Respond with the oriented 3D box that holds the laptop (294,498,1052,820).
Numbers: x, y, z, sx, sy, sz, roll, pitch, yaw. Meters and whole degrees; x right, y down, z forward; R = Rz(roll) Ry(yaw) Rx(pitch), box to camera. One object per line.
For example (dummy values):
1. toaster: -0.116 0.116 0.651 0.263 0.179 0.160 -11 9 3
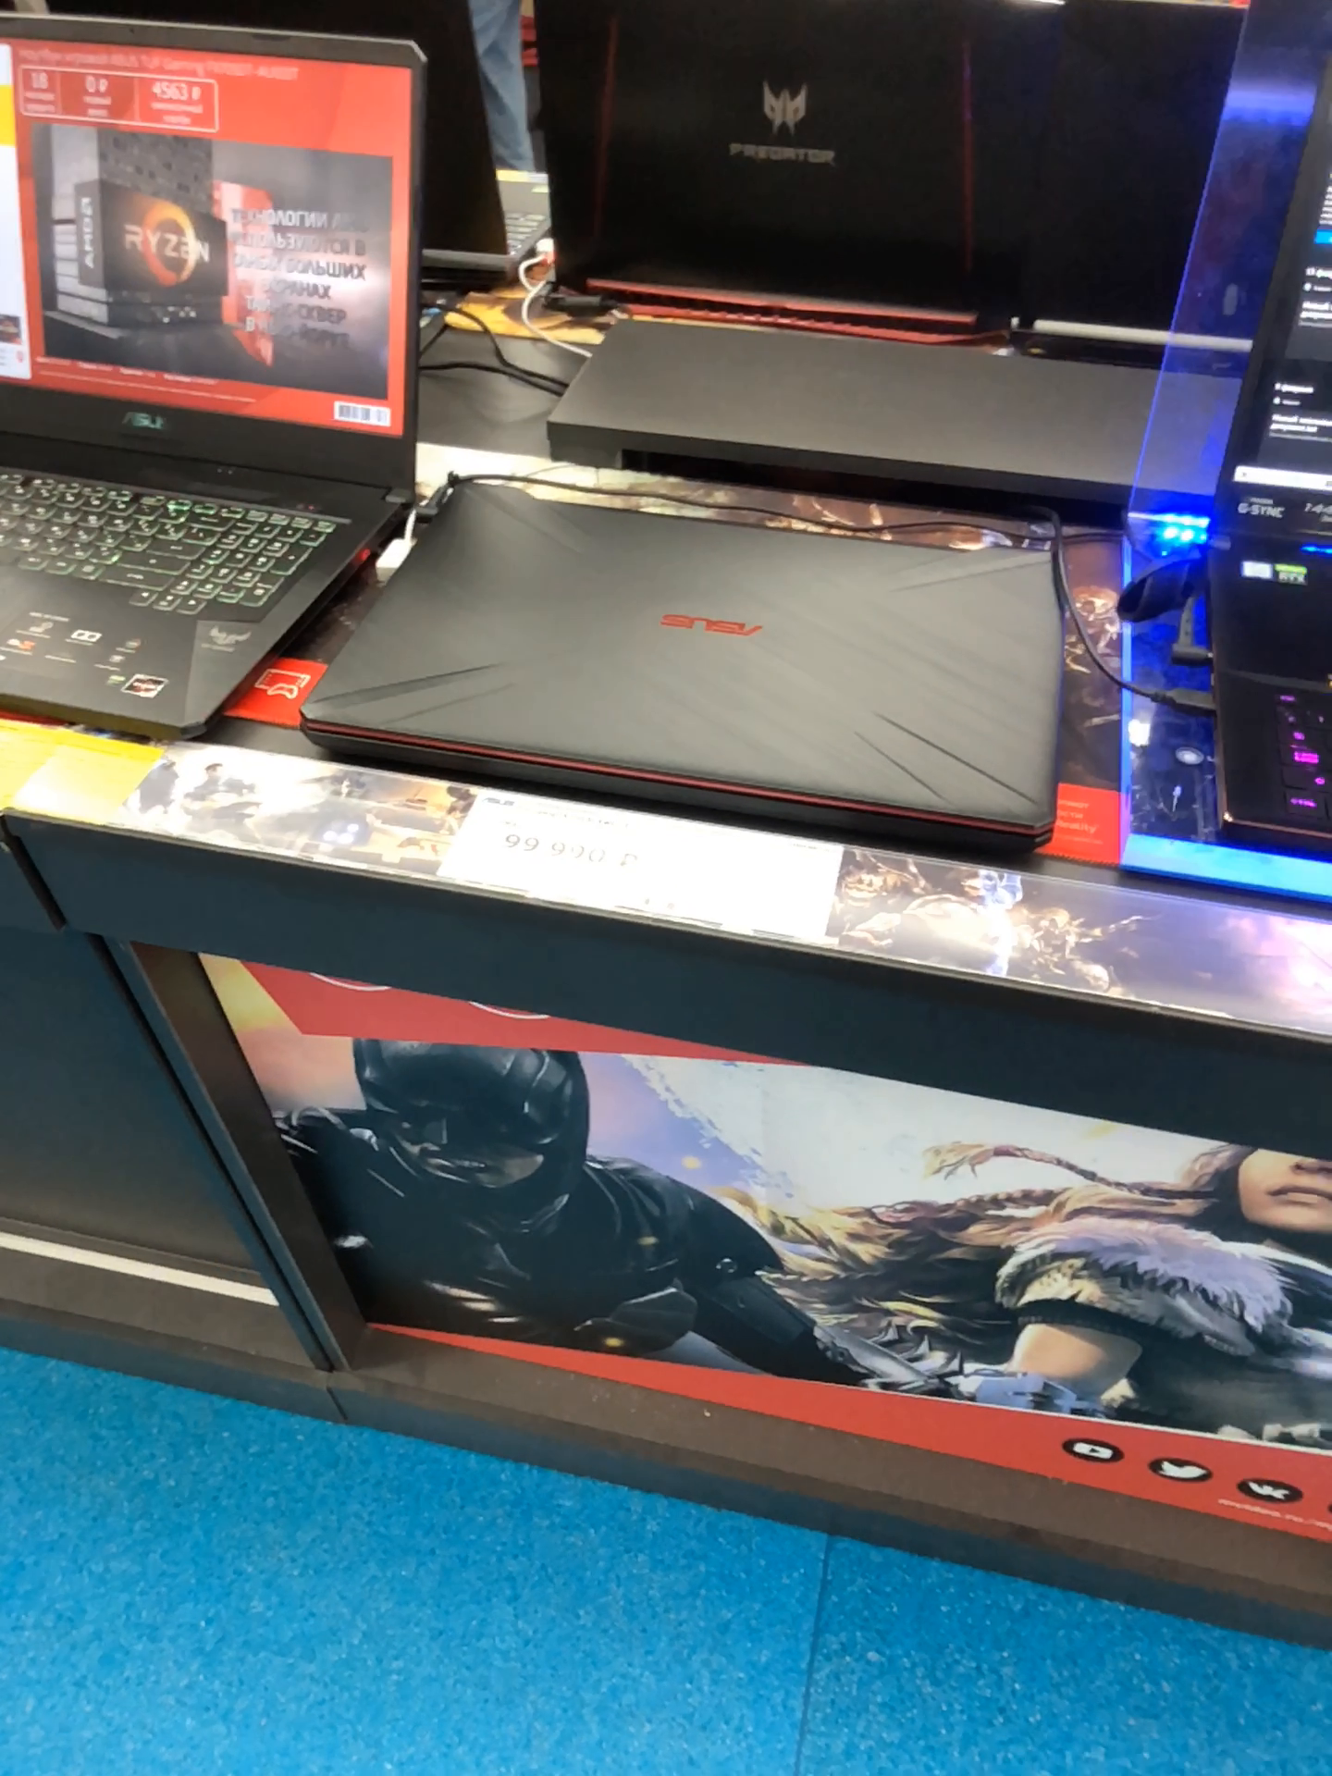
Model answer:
1. laptop: 0.019 -0.144 0.830 0.388 0.002 0.253 9 42 10
